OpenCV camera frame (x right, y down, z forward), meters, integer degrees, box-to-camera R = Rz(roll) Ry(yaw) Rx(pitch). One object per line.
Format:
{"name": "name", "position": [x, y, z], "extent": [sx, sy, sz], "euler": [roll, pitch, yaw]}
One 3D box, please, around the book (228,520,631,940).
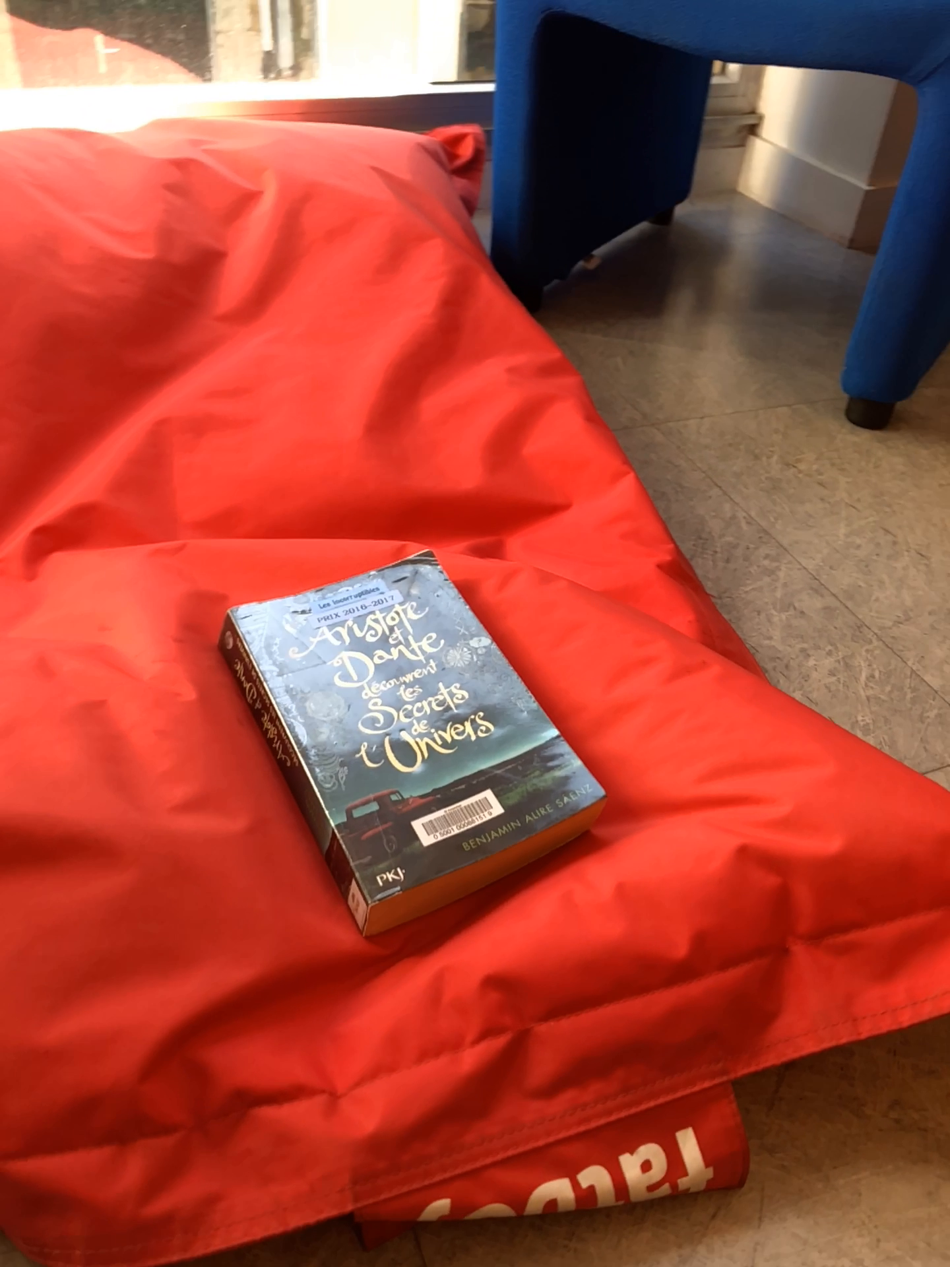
{"name": "book", "position": [-0.035, 0.042, 0.612], "extent": [0.149, 0.048, 0.229], "euler": [-19, 51, -18]}
